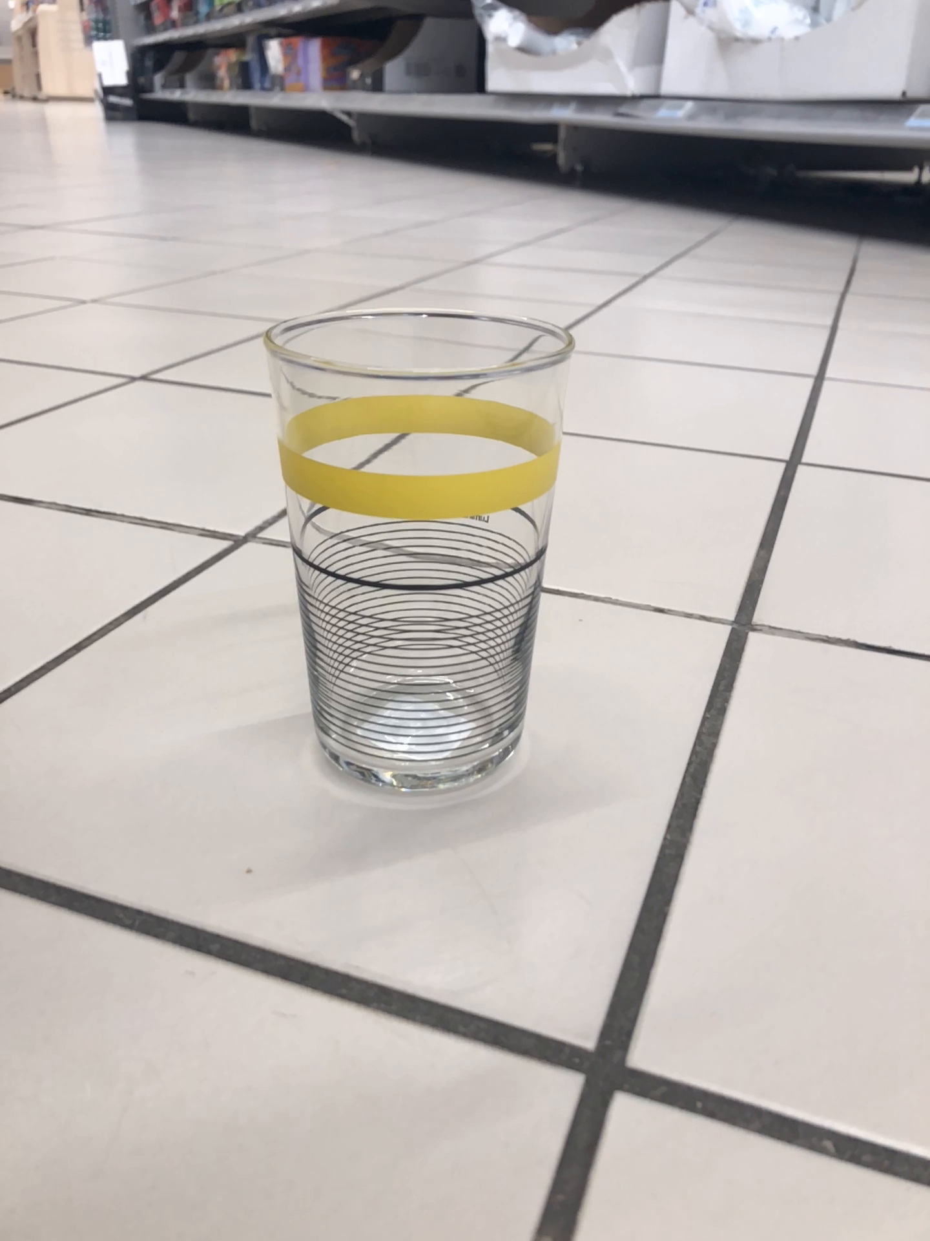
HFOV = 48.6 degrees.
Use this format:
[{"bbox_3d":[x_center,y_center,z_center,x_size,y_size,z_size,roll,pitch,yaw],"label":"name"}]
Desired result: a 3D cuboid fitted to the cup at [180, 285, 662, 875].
[{"bbox_3d":[-0.010,-0.018,0.258,0.079,0.114,0.077,0,25,0],"label":"cup"}]
